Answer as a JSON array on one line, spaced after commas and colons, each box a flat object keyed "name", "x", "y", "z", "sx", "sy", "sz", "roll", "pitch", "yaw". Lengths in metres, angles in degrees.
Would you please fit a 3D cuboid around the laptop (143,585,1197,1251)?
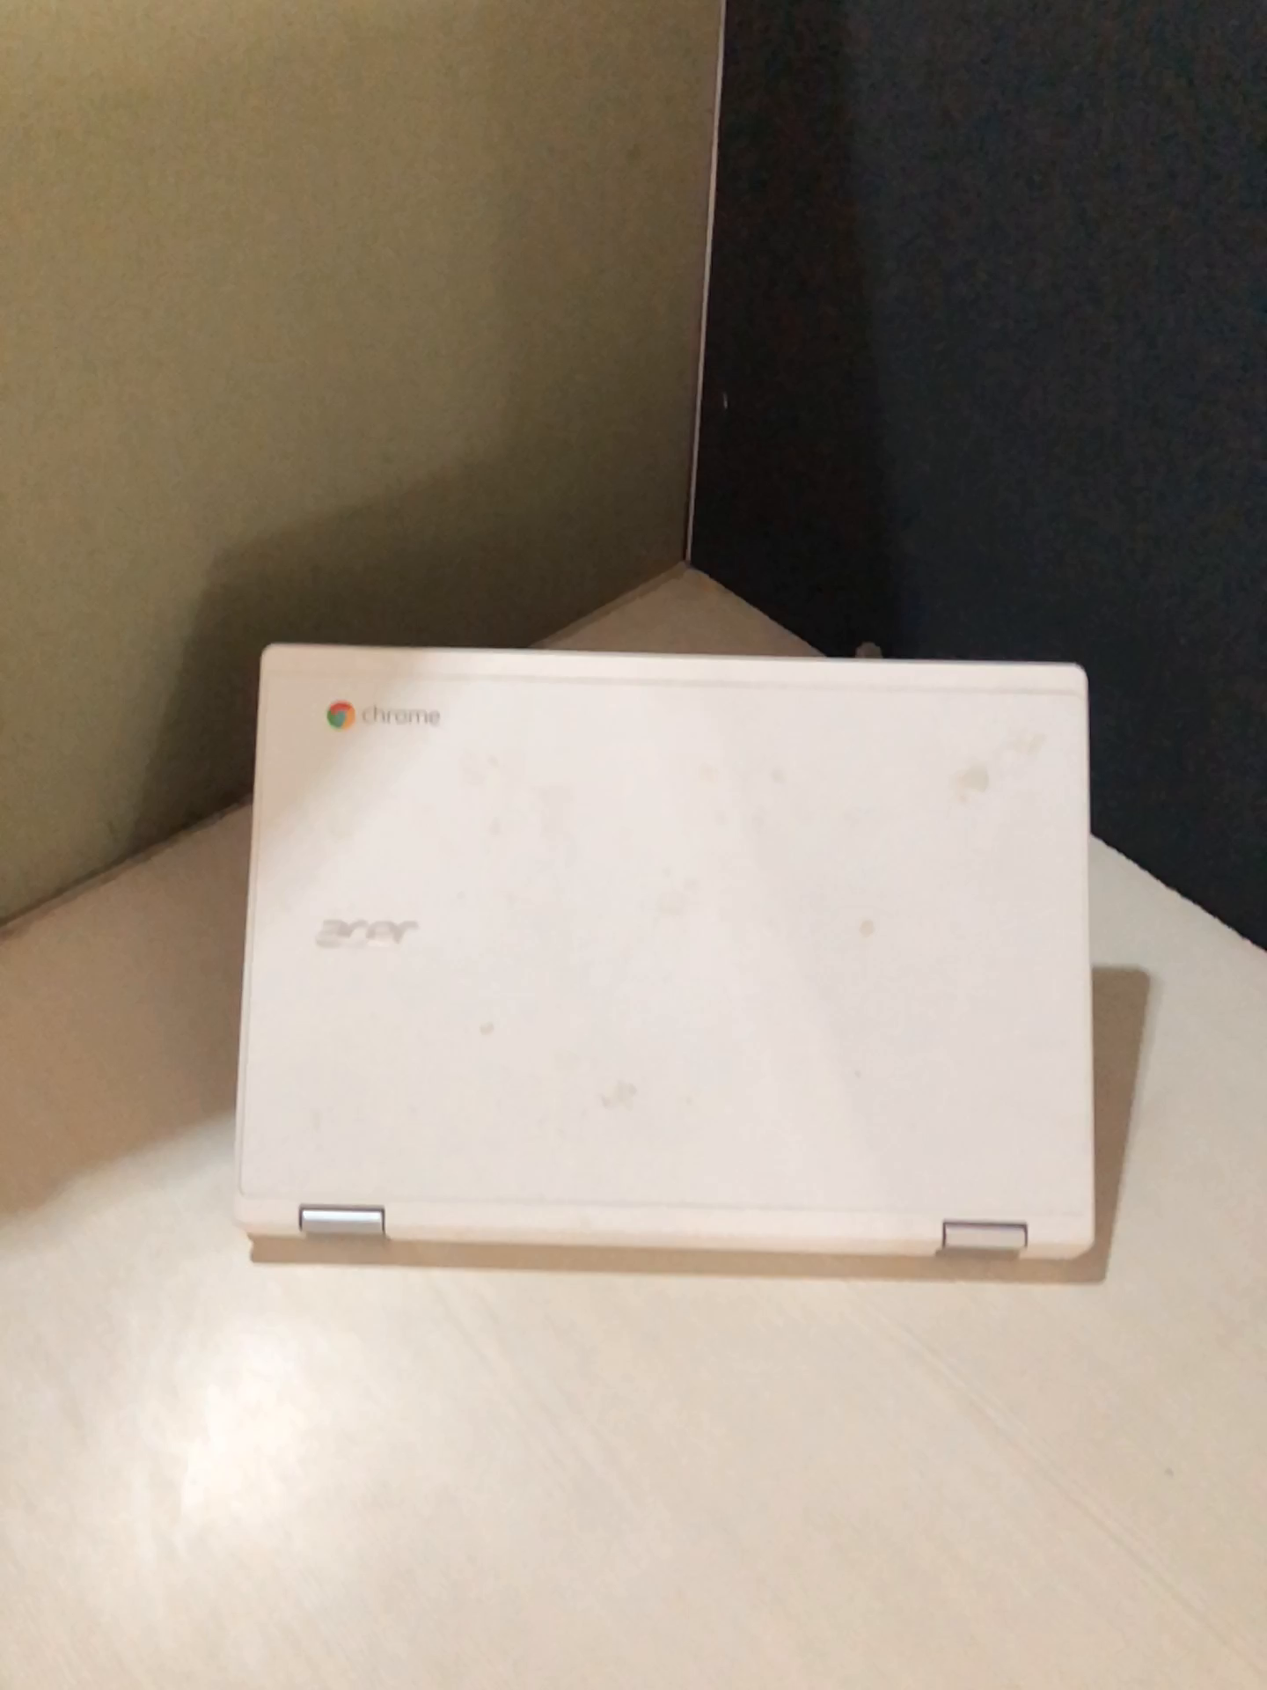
[{"name": "laptop", "x": 0.010, "y": 0.020, "z": 0.478, "sx": 0.285, "sy": 0.114, "sz": 0.188, "roll": 1, "pitch": 49, "yaw": 0}]
